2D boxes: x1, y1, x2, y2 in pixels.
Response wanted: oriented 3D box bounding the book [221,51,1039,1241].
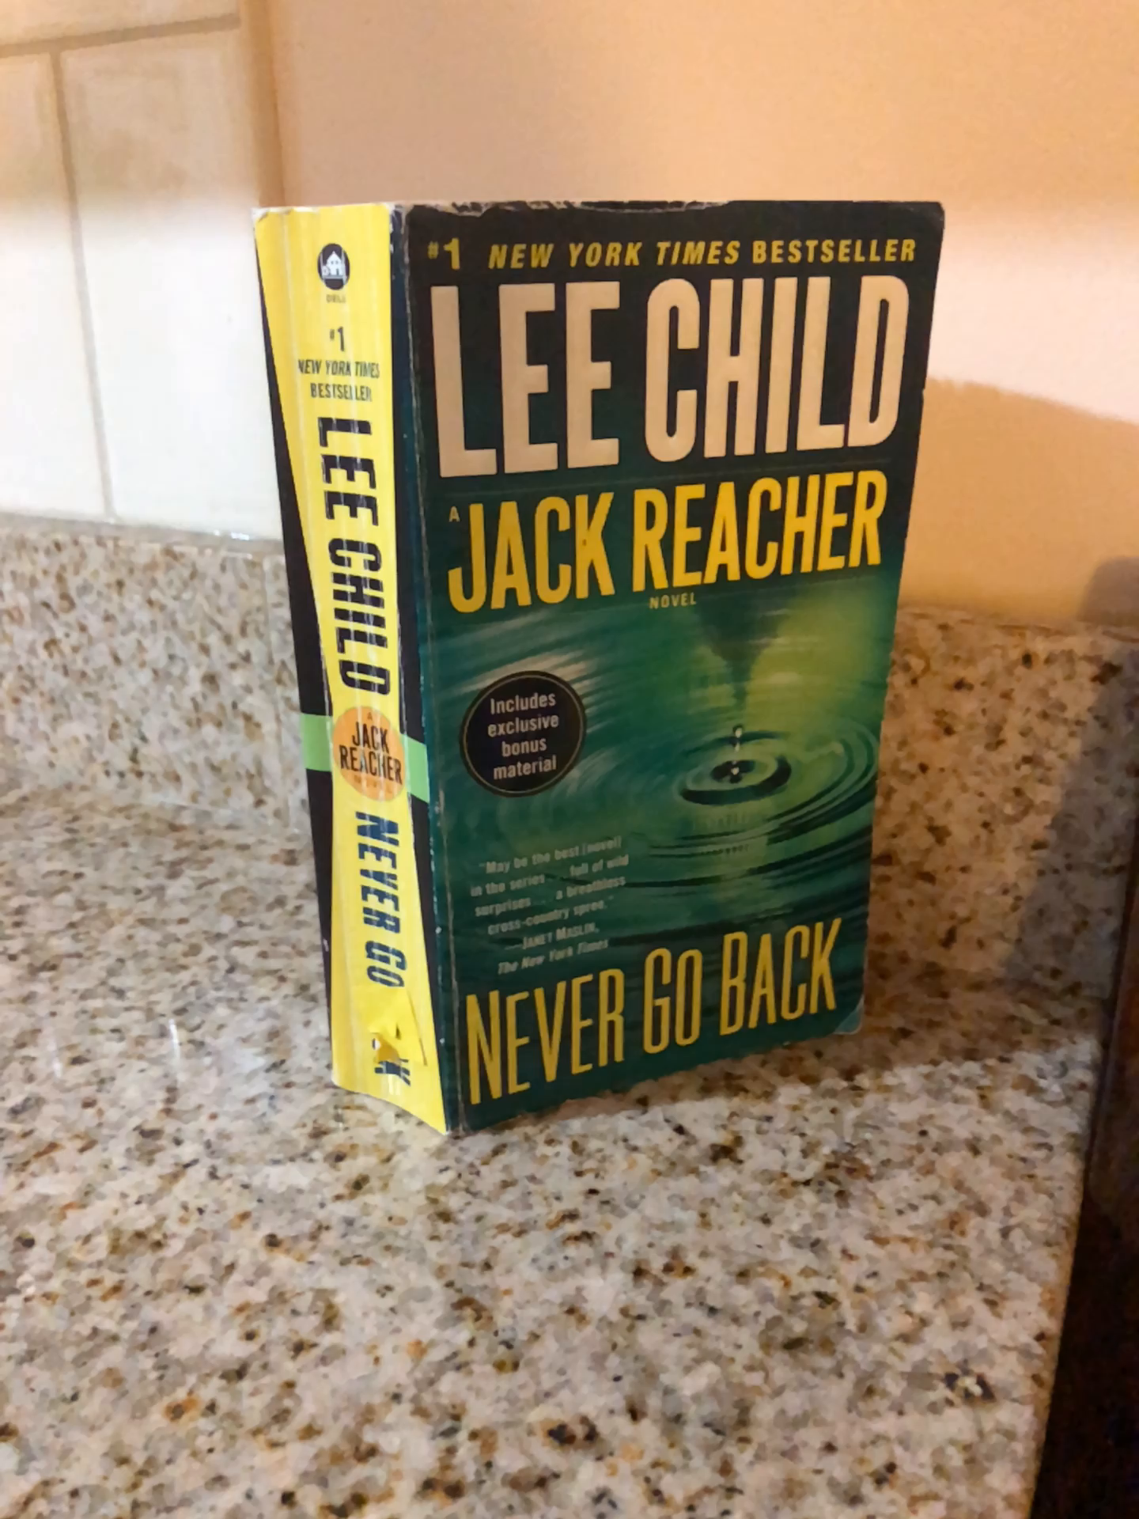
[{"bbox_3d":[0.018,-0.026,0.287,0.160,0.219,0.050,-14,26,-32],"label":"book"}]
